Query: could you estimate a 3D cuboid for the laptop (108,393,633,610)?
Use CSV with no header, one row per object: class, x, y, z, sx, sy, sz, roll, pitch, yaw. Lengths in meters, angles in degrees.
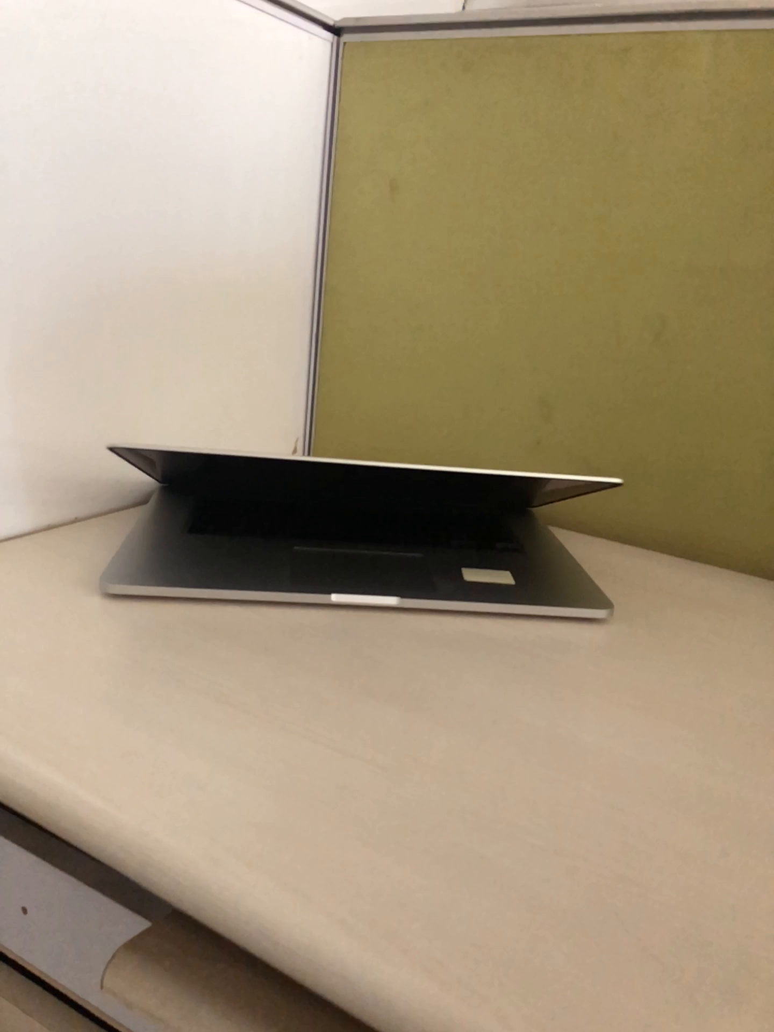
laptop,-0.019,-0.023,0.677,0.343,0.083,0.244,4,17,-6
